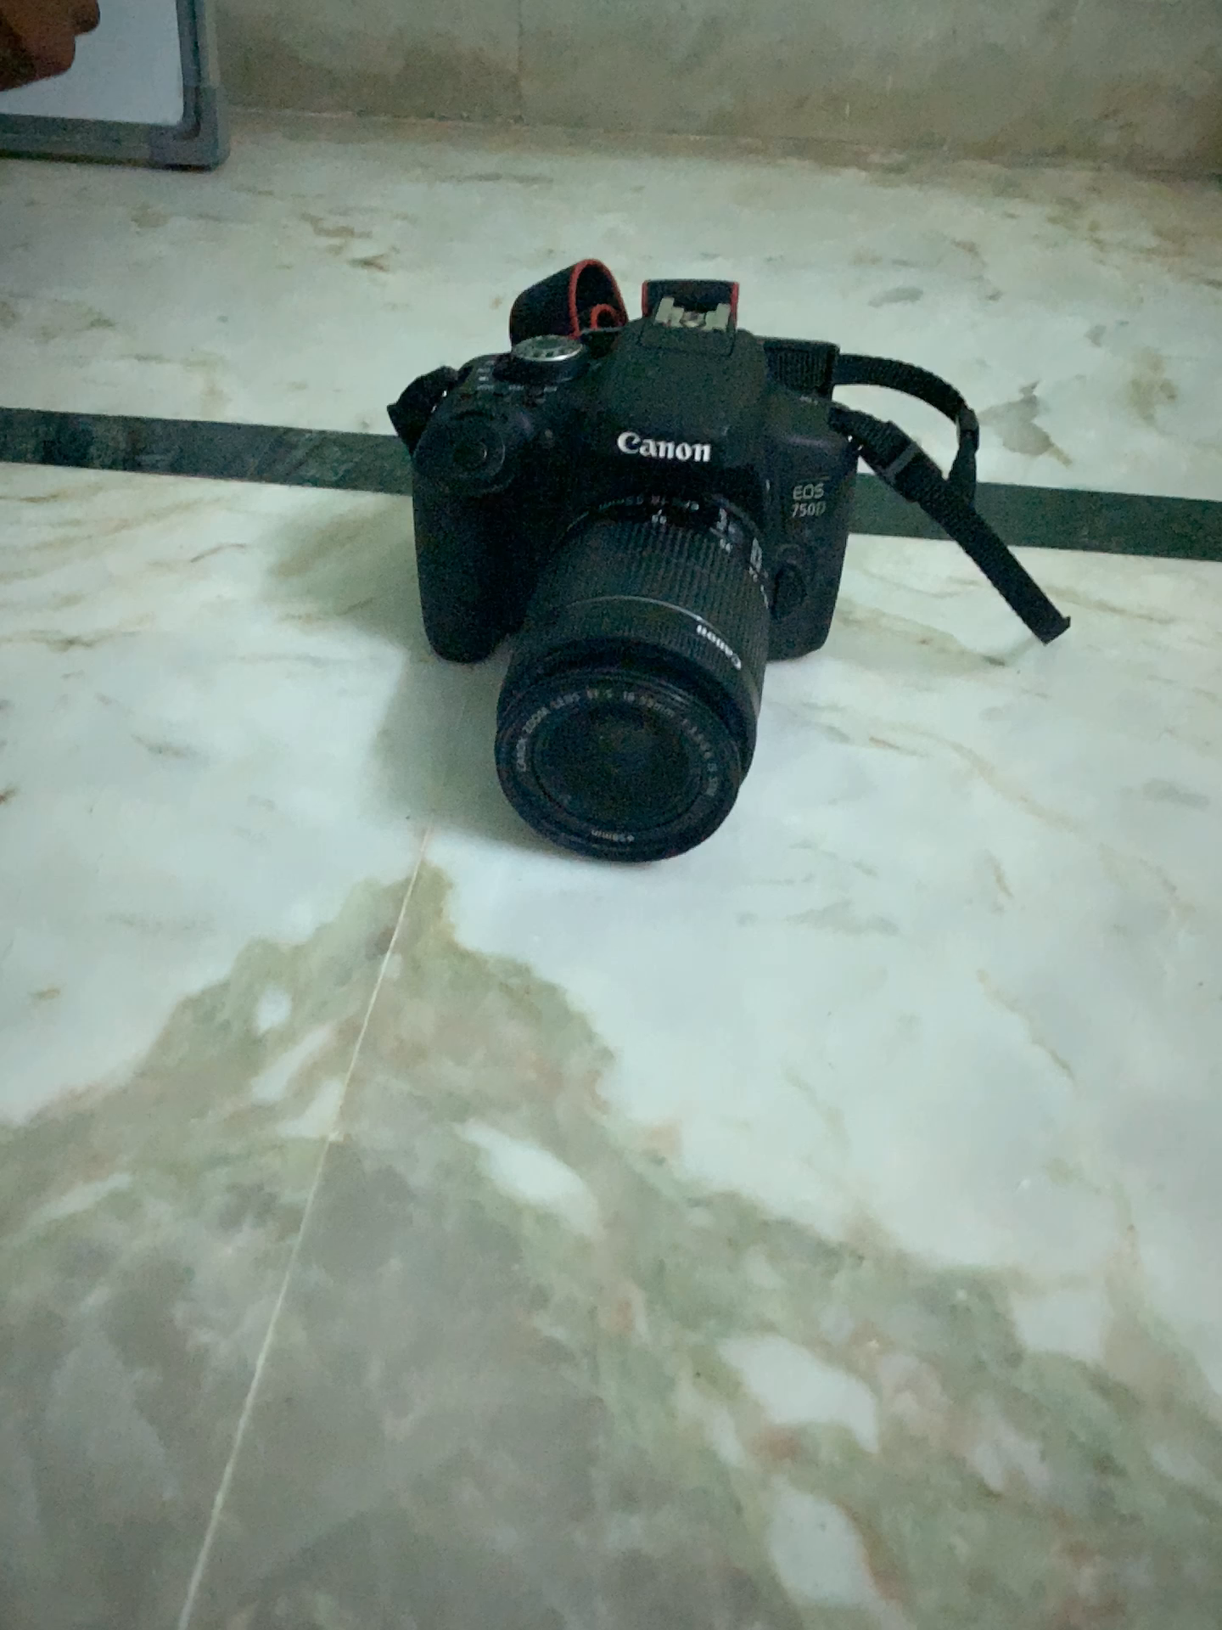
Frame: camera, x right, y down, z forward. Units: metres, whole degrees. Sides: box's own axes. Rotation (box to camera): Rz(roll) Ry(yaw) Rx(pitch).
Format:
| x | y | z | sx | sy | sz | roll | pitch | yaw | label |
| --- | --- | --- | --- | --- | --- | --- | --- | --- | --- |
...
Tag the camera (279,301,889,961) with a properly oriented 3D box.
| x | y | z | sx | sy | sz | roll | pitch | yaw | label |
| --- | --- | --- | --- | --- | --- | --- | --- | --- | --- |
| 0.002 | -0.060 | 0.353 | 0.128 | 0.100 | 0.161 | 6 | 42 | 4 | camera |
